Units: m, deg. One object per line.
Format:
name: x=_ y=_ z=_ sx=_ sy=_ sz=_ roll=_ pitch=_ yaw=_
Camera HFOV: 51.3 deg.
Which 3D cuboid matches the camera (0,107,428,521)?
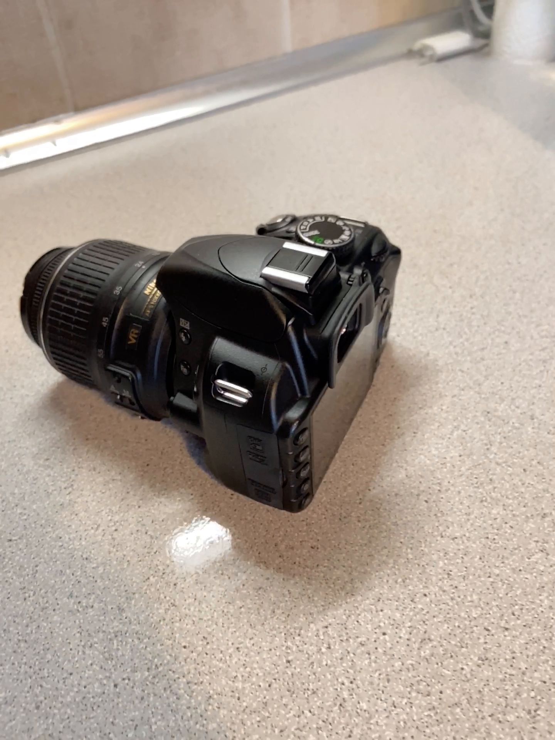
camera: x=-0.042 y=-0.038 z=0.265 sx=0.177 sy=0.091 sz=0.122 roll=18 pitch=51 yaw=21
